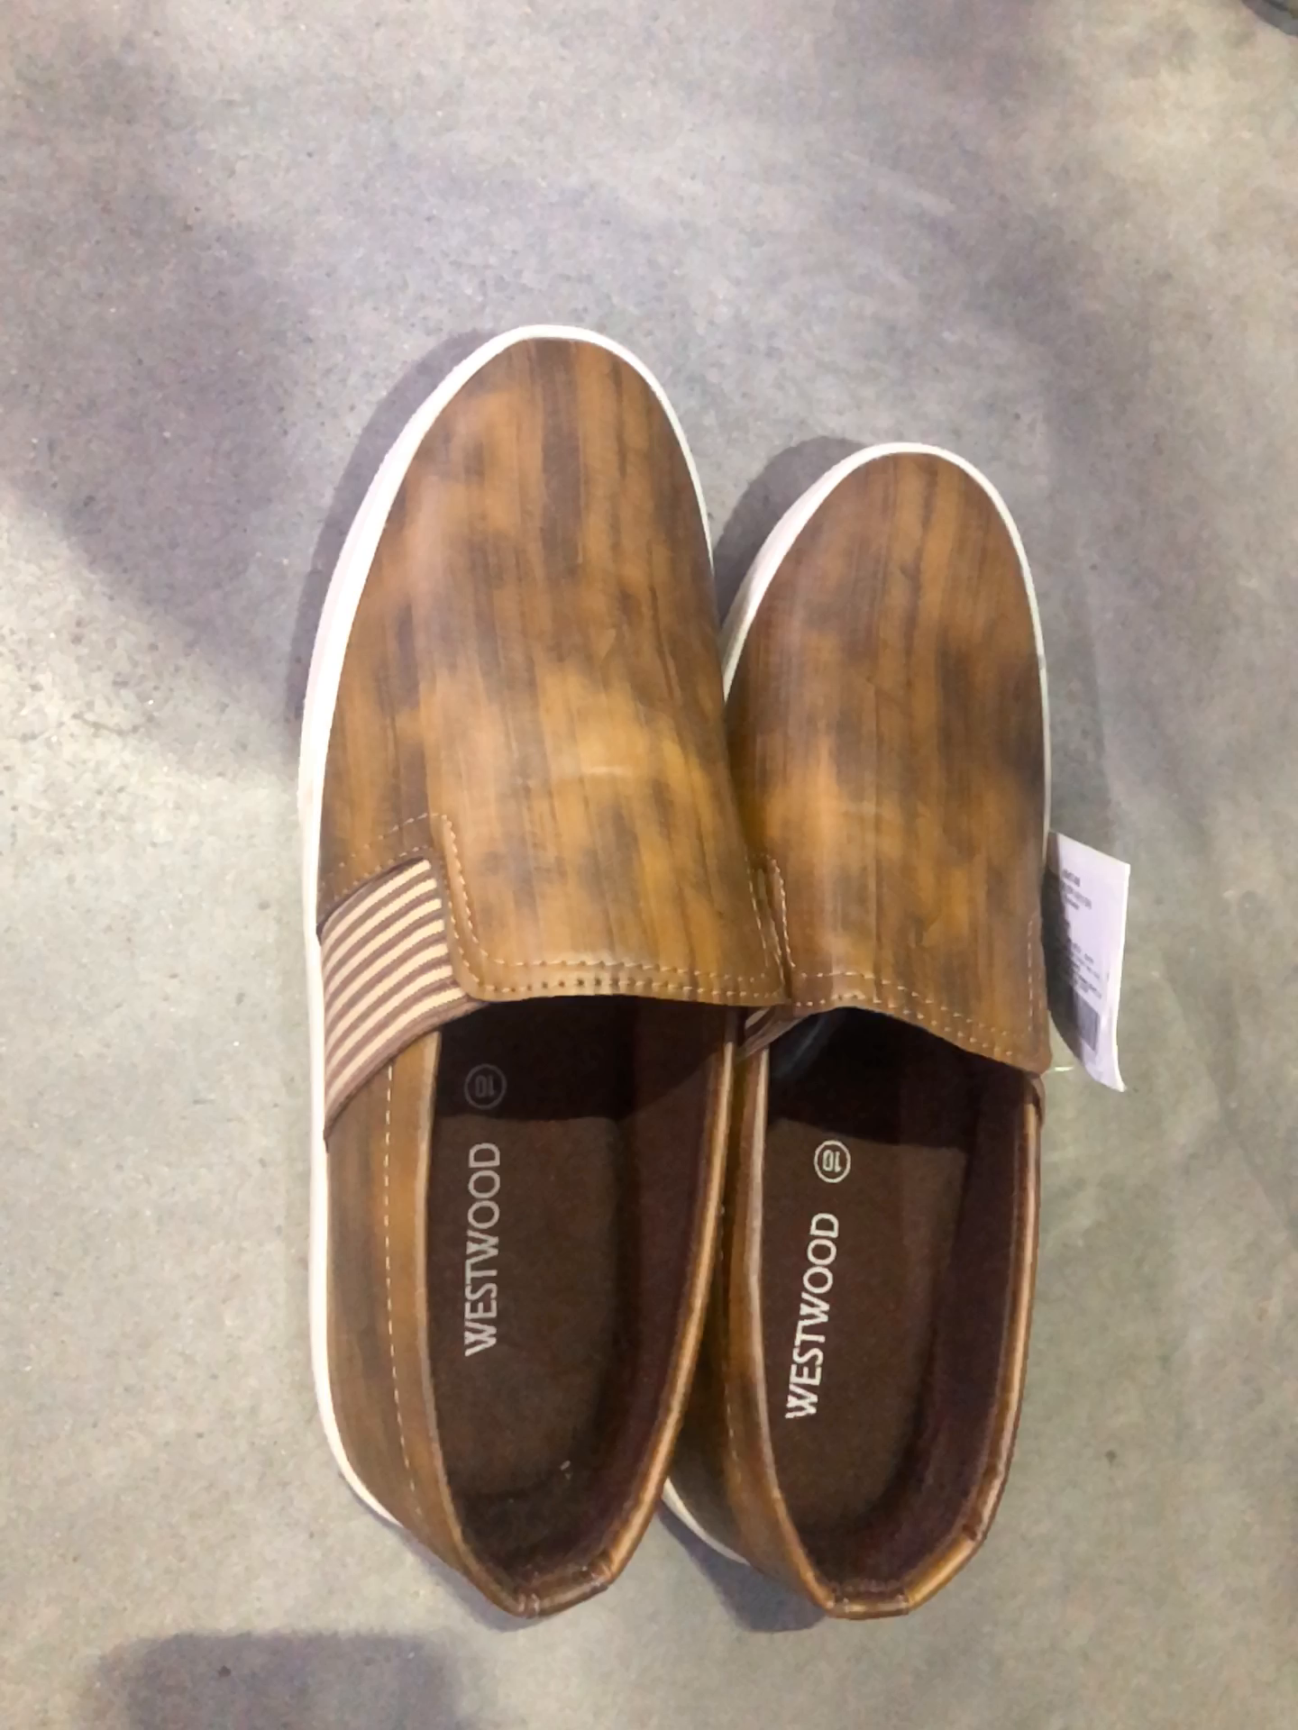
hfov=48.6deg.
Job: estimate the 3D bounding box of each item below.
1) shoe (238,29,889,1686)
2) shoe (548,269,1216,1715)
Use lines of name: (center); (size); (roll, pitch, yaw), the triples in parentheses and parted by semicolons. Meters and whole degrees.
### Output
shoe: (-0.021, -0.004, 0.310); (0.110, 0.100, 0.290); (4, 80, -15)
shoe: (0.059, 0.028, 0.369); (0.110, 0.100, 0.310); (10, 79, -14)
